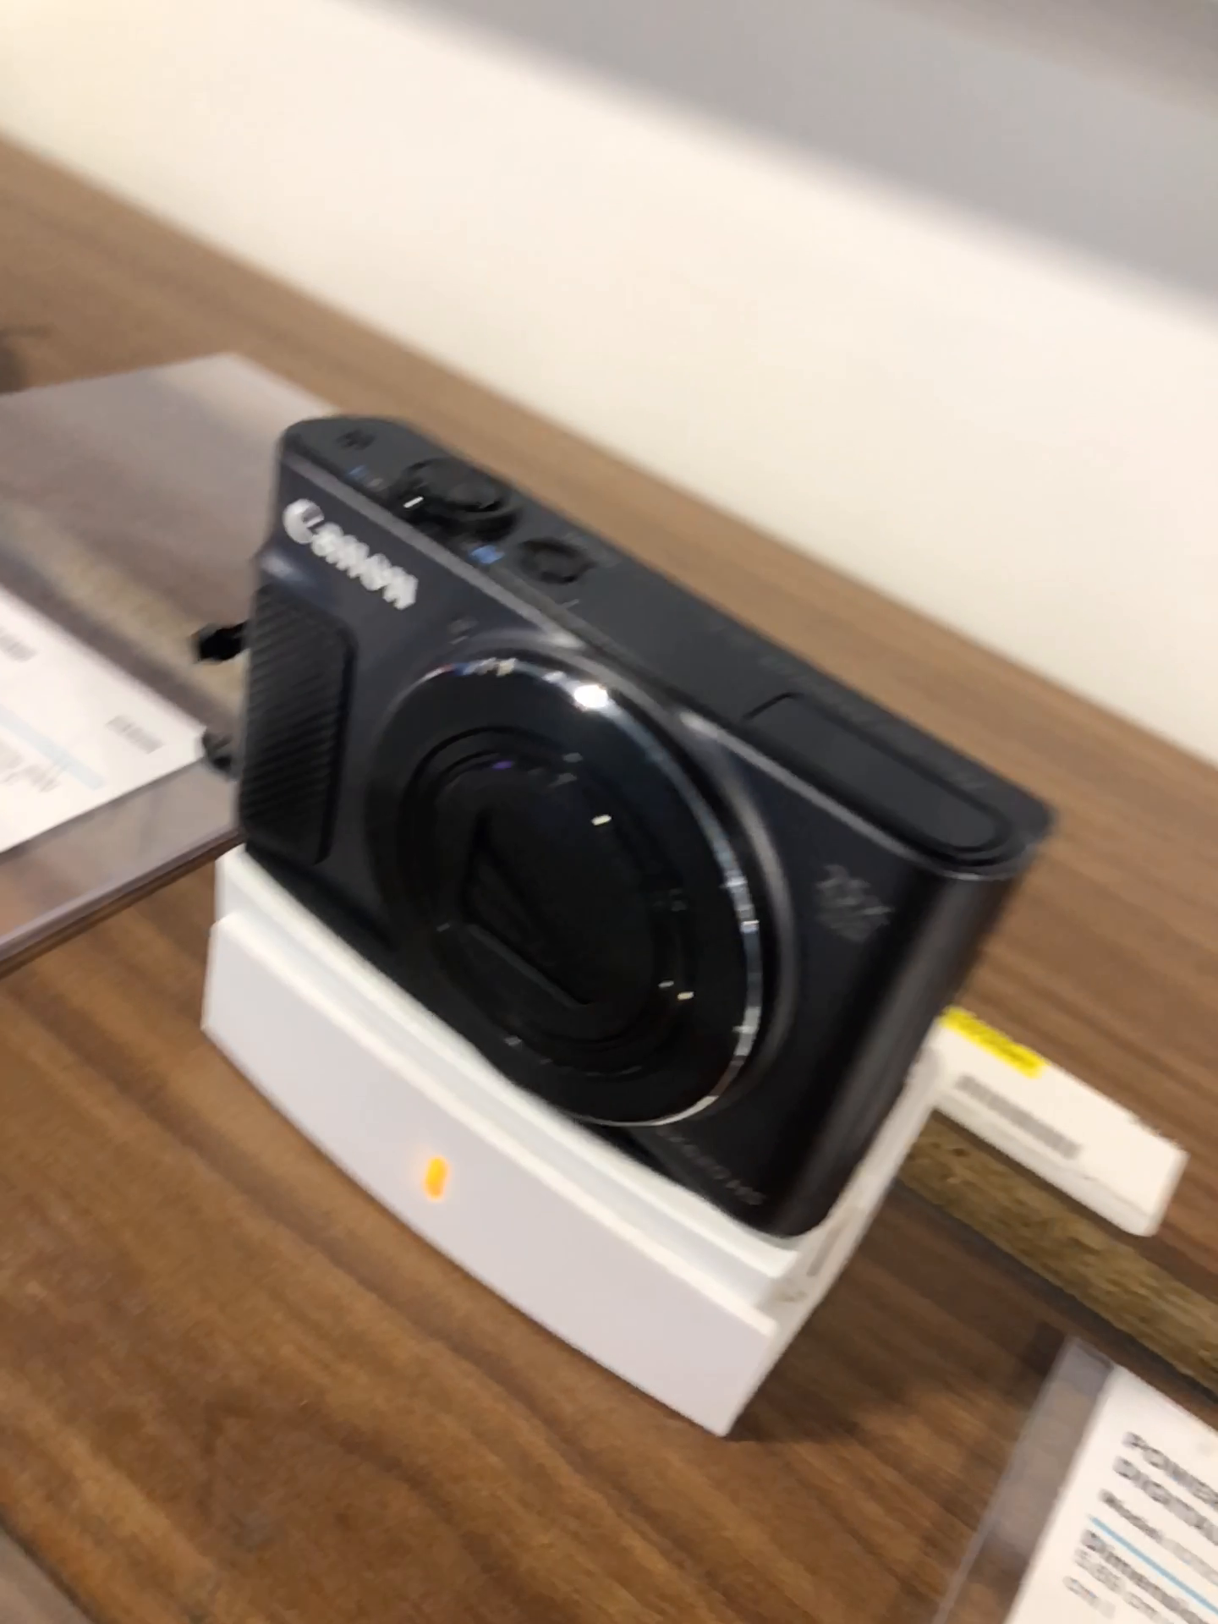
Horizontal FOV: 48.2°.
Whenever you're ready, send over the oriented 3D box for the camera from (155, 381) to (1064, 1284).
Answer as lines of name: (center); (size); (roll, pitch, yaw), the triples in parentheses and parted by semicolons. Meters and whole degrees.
camera: (-0.008, -0.002, 0.165); (0.100, 0.060, 0.030); (34, 37, 22)
